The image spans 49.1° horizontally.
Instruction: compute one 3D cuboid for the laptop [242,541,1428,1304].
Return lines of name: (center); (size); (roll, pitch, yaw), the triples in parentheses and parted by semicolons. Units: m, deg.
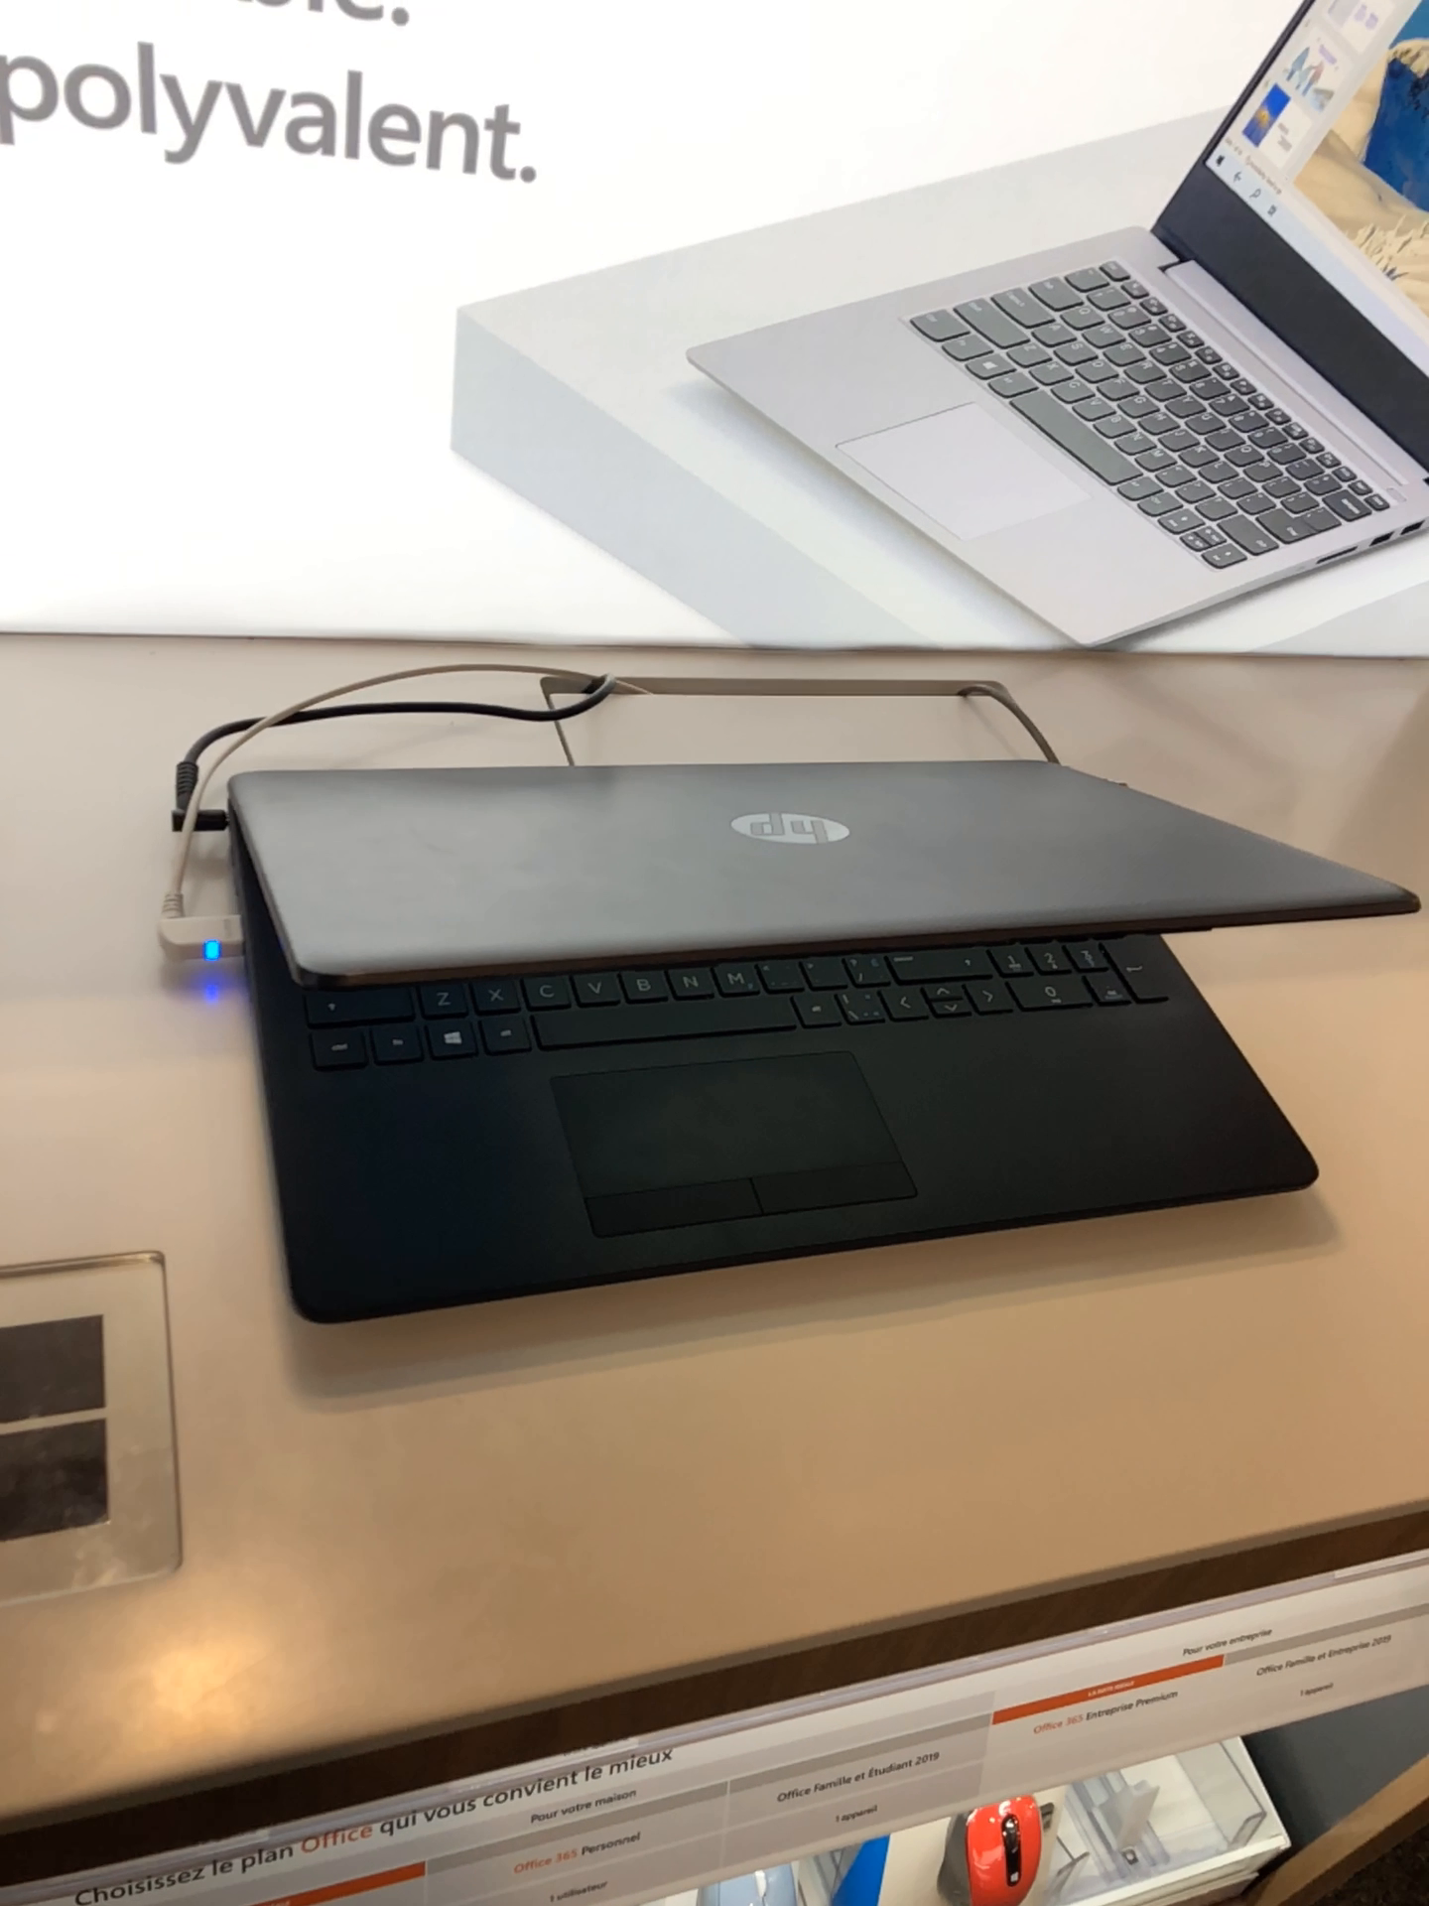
laptop: (0.026, -0.029, 0.555); (0.352, 0.107, 0.239); (-3, 45, -20)
